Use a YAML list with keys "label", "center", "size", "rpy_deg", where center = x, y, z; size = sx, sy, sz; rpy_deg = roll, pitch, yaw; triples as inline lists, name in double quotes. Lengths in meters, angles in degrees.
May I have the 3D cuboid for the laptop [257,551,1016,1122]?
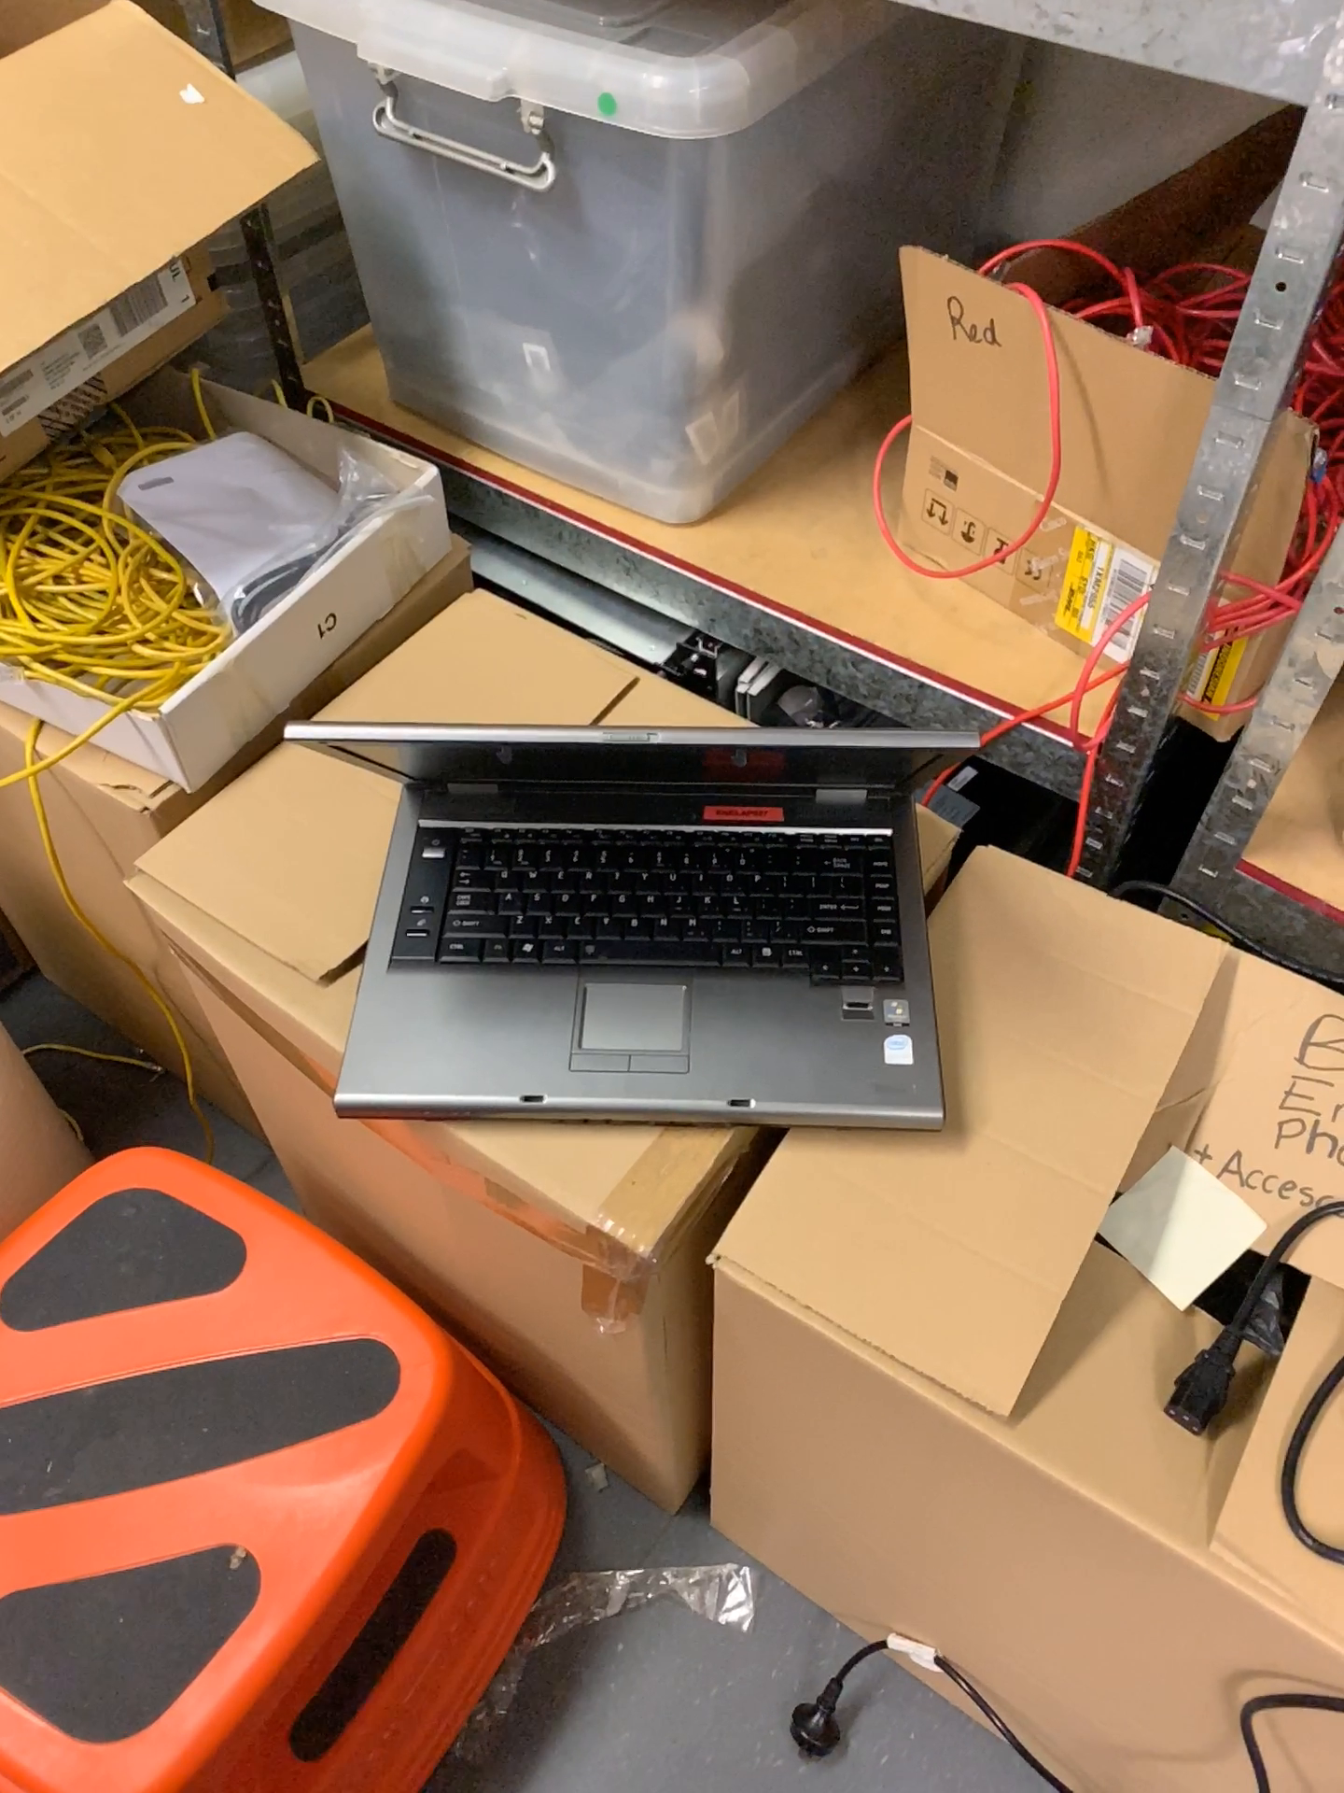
- label: "laptop"
  center: [-0.016, -0.037, 0.793]
  size: [0.352, 0.203, 0.254]
  rpy_deg: [1, 52, 3]
